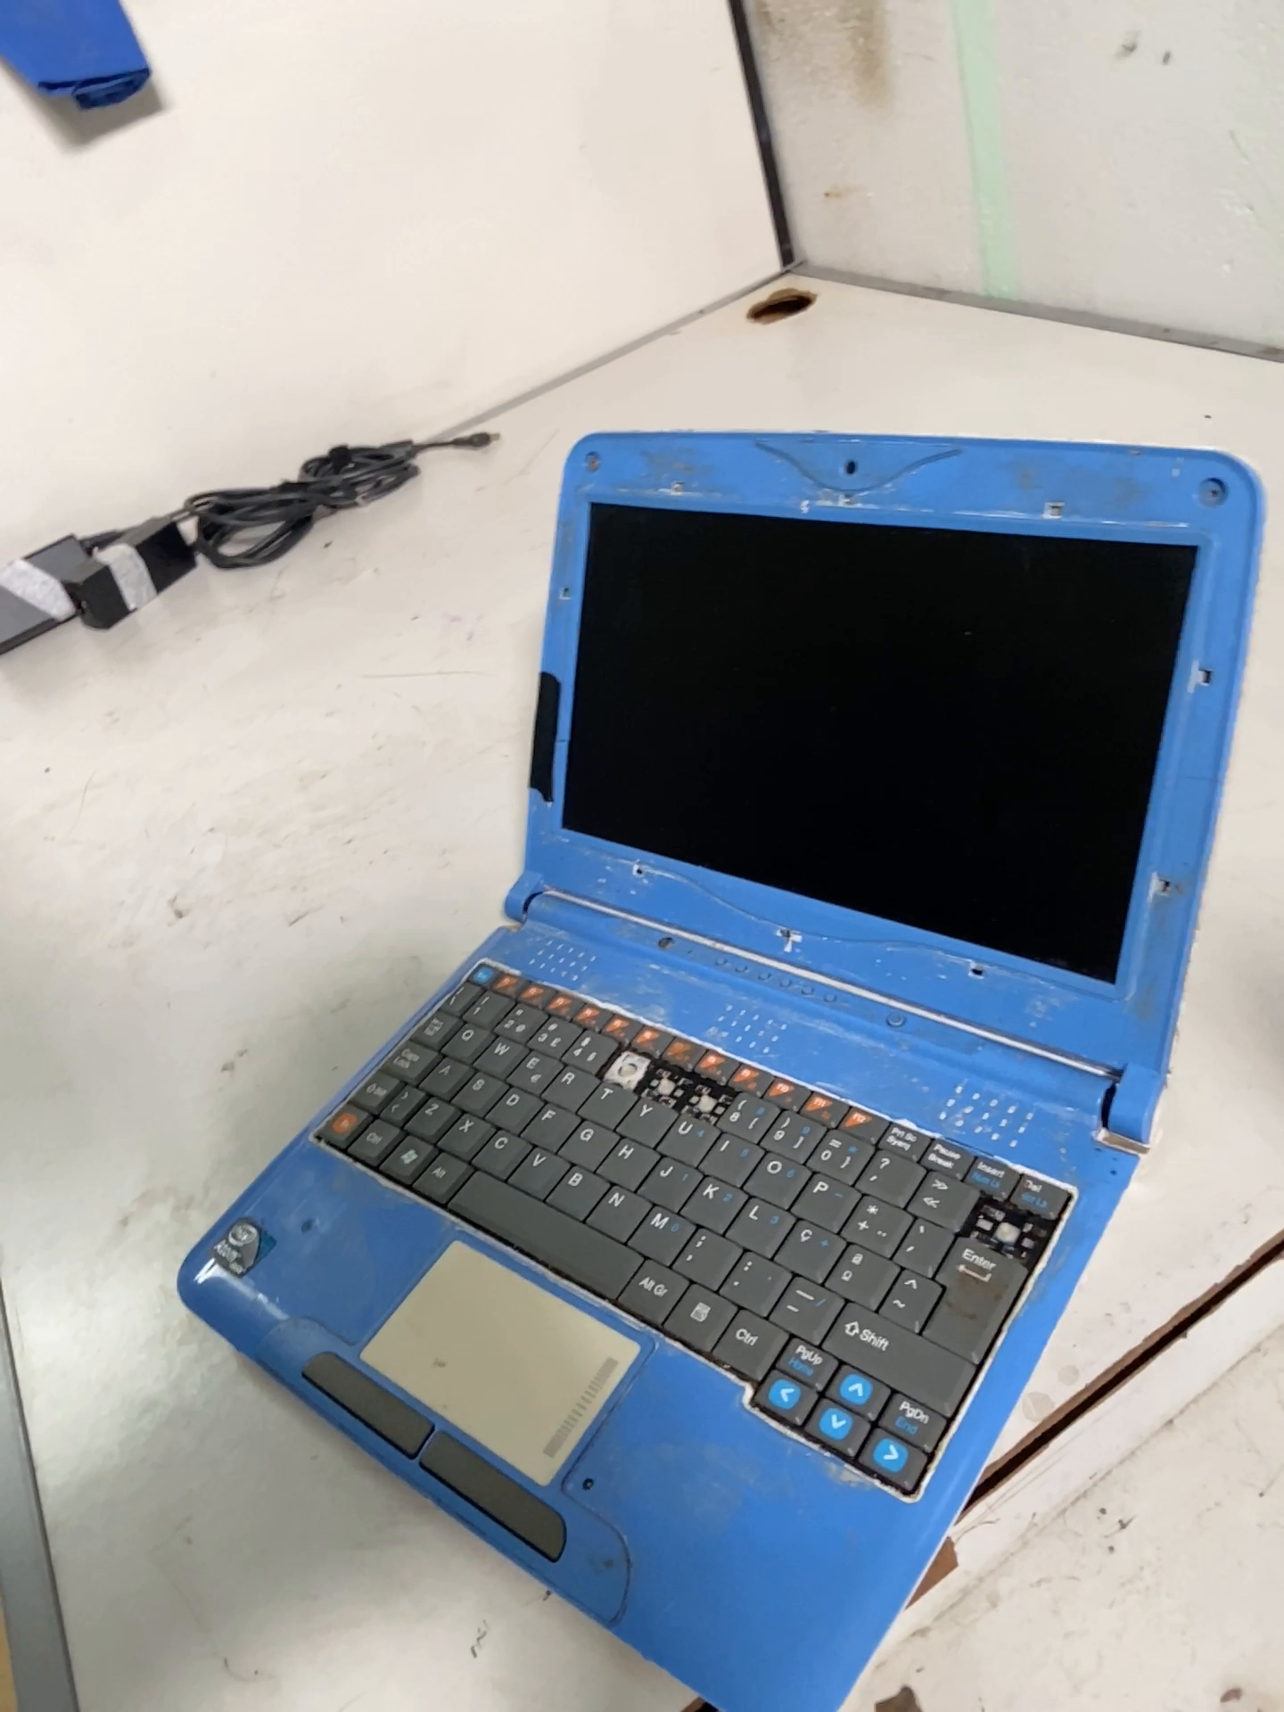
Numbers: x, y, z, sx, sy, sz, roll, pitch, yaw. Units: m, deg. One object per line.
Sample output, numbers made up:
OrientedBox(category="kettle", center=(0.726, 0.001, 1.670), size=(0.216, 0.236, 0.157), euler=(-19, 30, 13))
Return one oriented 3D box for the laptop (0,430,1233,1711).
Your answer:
OrientedBox(category="laptop", center=(0.003, 0.016, 0.388), size=(0.241, 0.149, 0.287), euler=(15, 49, 36))
